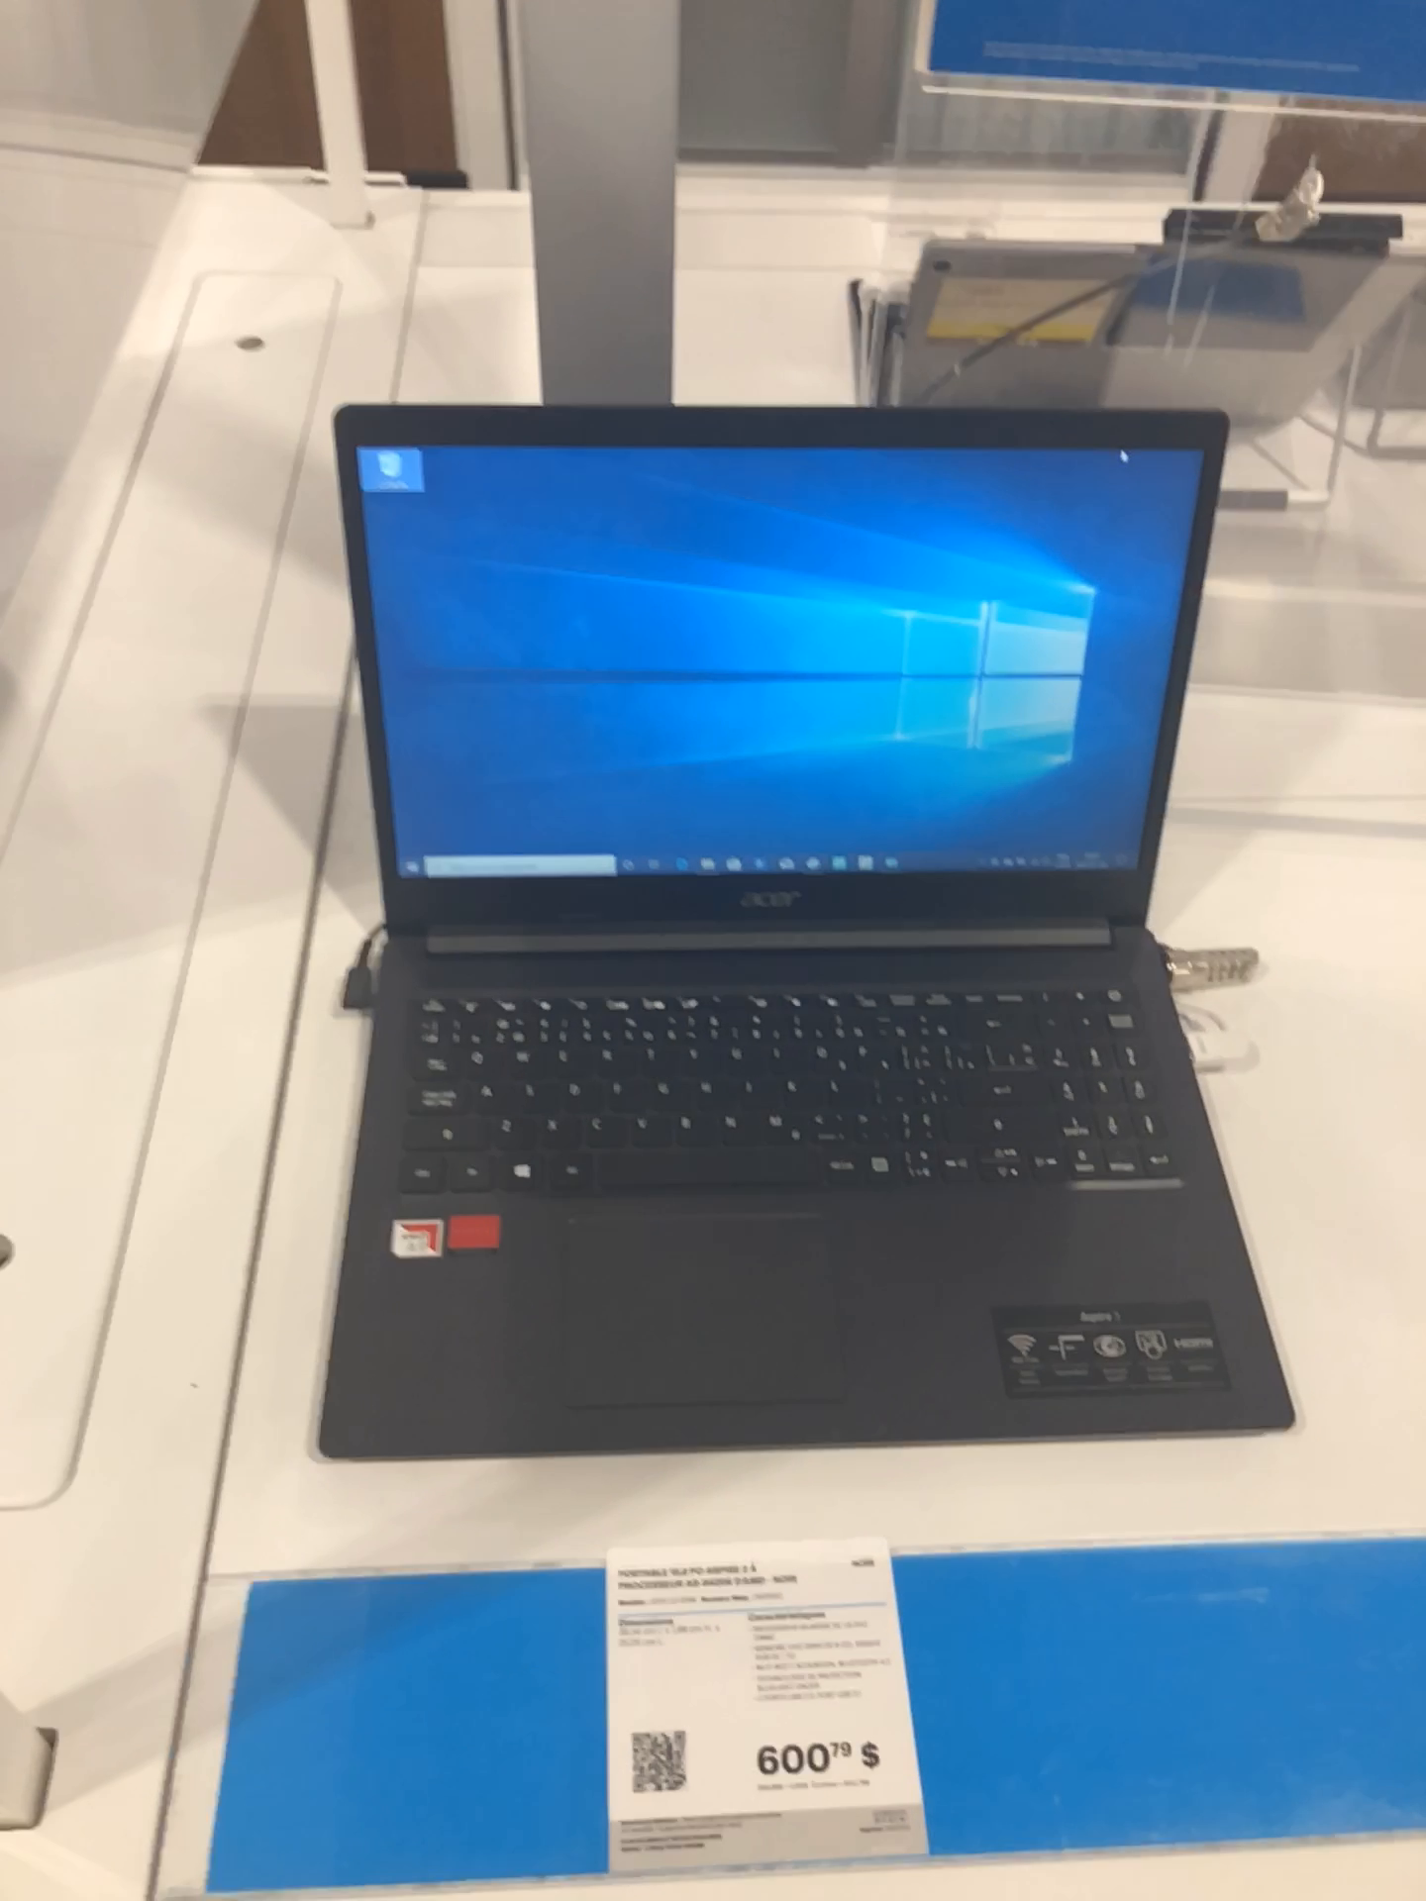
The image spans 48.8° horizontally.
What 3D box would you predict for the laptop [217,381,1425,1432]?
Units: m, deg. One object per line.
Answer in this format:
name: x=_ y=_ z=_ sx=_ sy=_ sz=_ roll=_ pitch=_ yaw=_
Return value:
laptop: x=0.035 y=-0.026 z=0.630 sx=0.367 sy=0.212 sz=0.351 roll=0 pitch=51 yaw=-3
